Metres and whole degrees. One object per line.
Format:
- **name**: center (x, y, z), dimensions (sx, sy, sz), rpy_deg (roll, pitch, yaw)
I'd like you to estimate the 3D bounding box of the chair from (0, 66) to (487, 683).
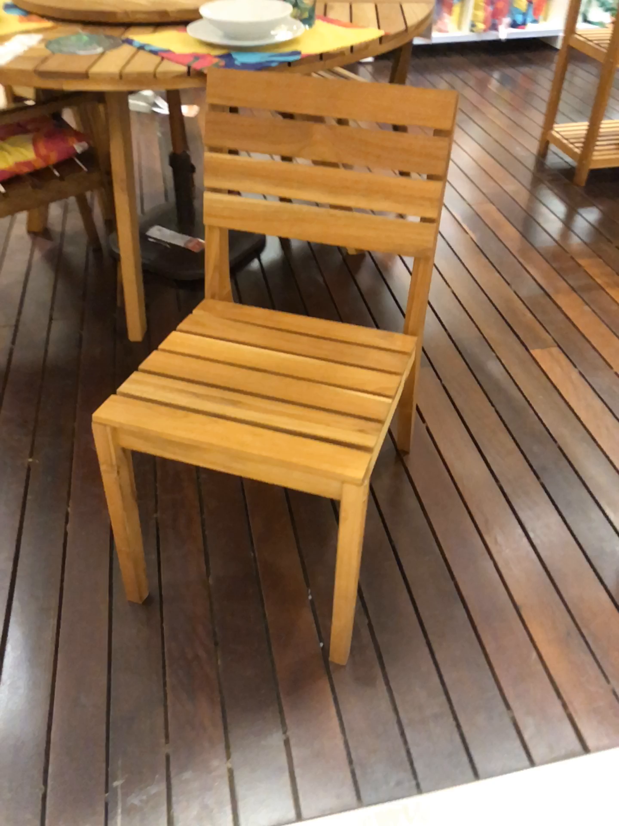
- **chair**: center (-0.032, -0.075, 1.156), dimensions (0.460, 0.764, 0.605), rpy_deg (12, 42, 14)
